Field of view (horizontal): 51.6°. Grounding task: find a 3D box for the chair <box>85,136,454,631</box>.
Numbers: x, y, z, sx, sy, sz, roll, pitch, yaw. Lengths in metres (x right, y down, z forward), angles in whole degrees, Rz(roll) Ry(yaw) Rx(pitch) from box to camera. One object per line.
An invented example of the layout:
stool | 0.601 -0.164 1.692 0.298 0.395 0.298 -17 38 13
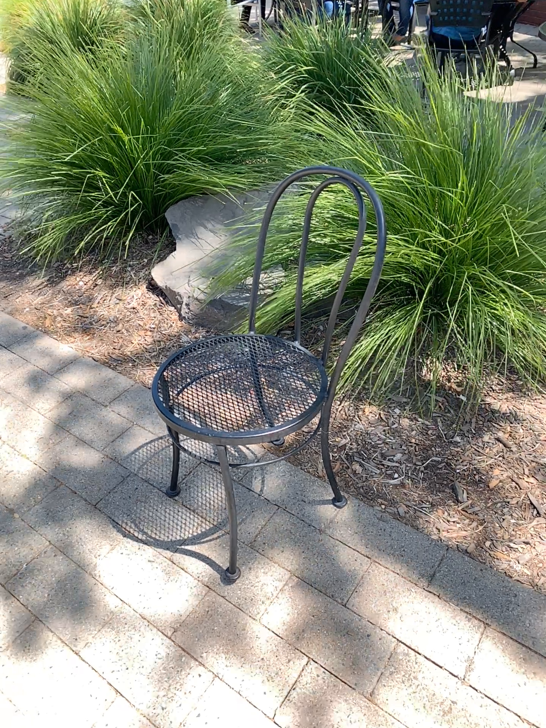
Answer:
chair | -0.006 0.069 1.375 0.528 0.998 0.463 -24 43 -24
